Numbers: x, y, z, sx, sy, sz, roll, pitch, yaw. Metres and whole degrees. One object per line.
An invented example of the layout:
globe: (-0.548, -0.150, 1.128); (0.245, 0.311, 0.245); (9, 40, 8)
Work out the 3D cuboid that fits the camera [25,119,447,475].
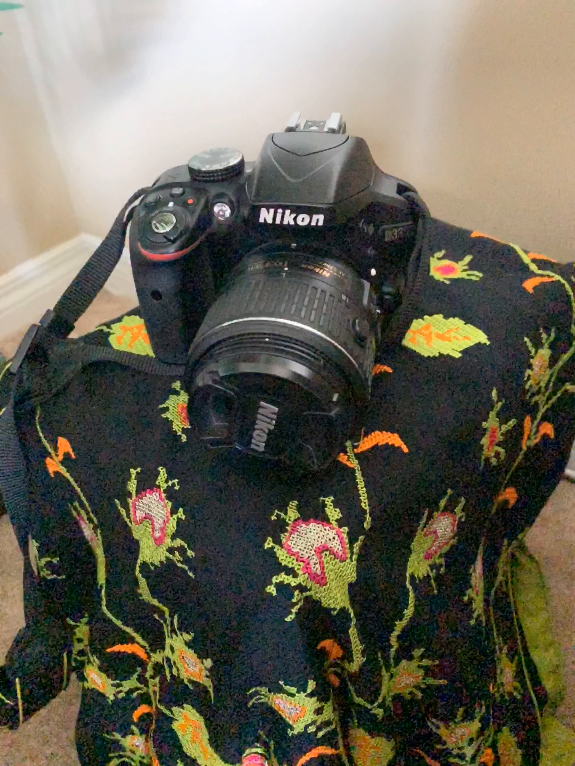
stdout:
camera: (-0.009, -0.036, 0.232); (0.120, 0.099, 0.091); (3, 41, 8)
